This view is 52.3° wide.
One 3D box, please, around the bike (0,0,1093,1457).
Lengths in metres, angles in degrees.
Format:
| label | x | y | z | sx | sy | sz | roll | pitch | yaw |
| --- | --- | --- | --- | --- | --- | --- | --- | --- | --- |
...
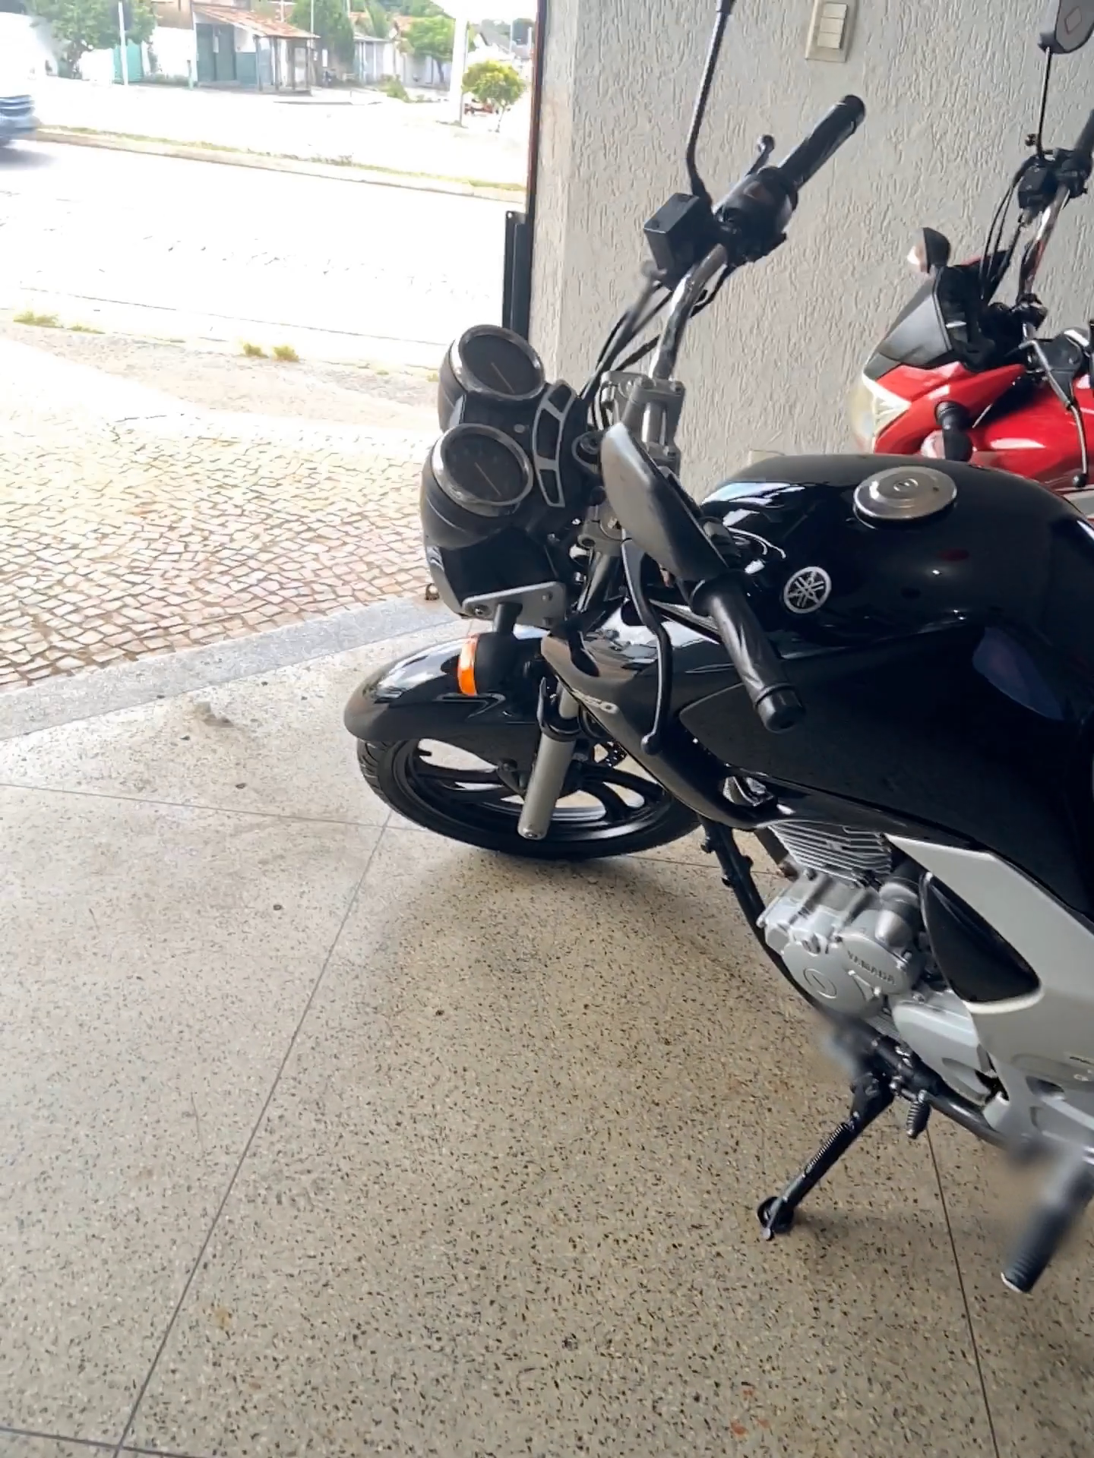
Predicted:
| label | x | y | z | sx | sy | sz | roll | pitch | yaw |
| --- | --- | --- | --- | --- | --- | --- | --- | --- | --- |
| bike | 0.538 | 0.171 | 1.156 | 1.880 | 1.511 | 0.847 | 22 | 35 | 24 |
